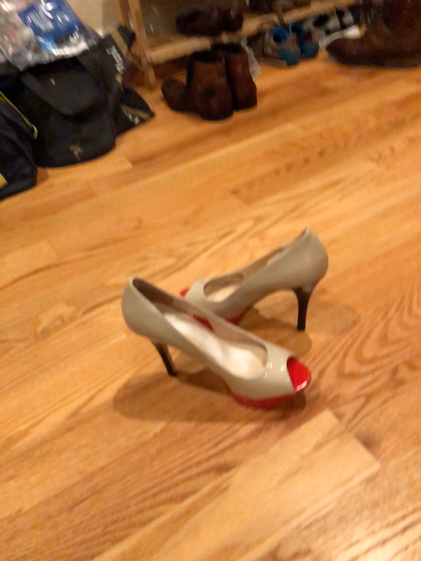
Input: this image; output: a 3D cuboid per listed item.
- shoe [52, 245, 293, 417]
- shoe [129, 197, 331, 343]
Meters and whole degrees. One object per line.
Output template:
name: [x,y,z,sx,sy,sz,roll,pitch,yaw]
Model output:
shoe: [-0.031,0.049,0.484,0.215,0.129,0.085,6,42,19]
shoe: [0.032,-0.016,0.577,0.220,0.149,0.080,5,42,18]
